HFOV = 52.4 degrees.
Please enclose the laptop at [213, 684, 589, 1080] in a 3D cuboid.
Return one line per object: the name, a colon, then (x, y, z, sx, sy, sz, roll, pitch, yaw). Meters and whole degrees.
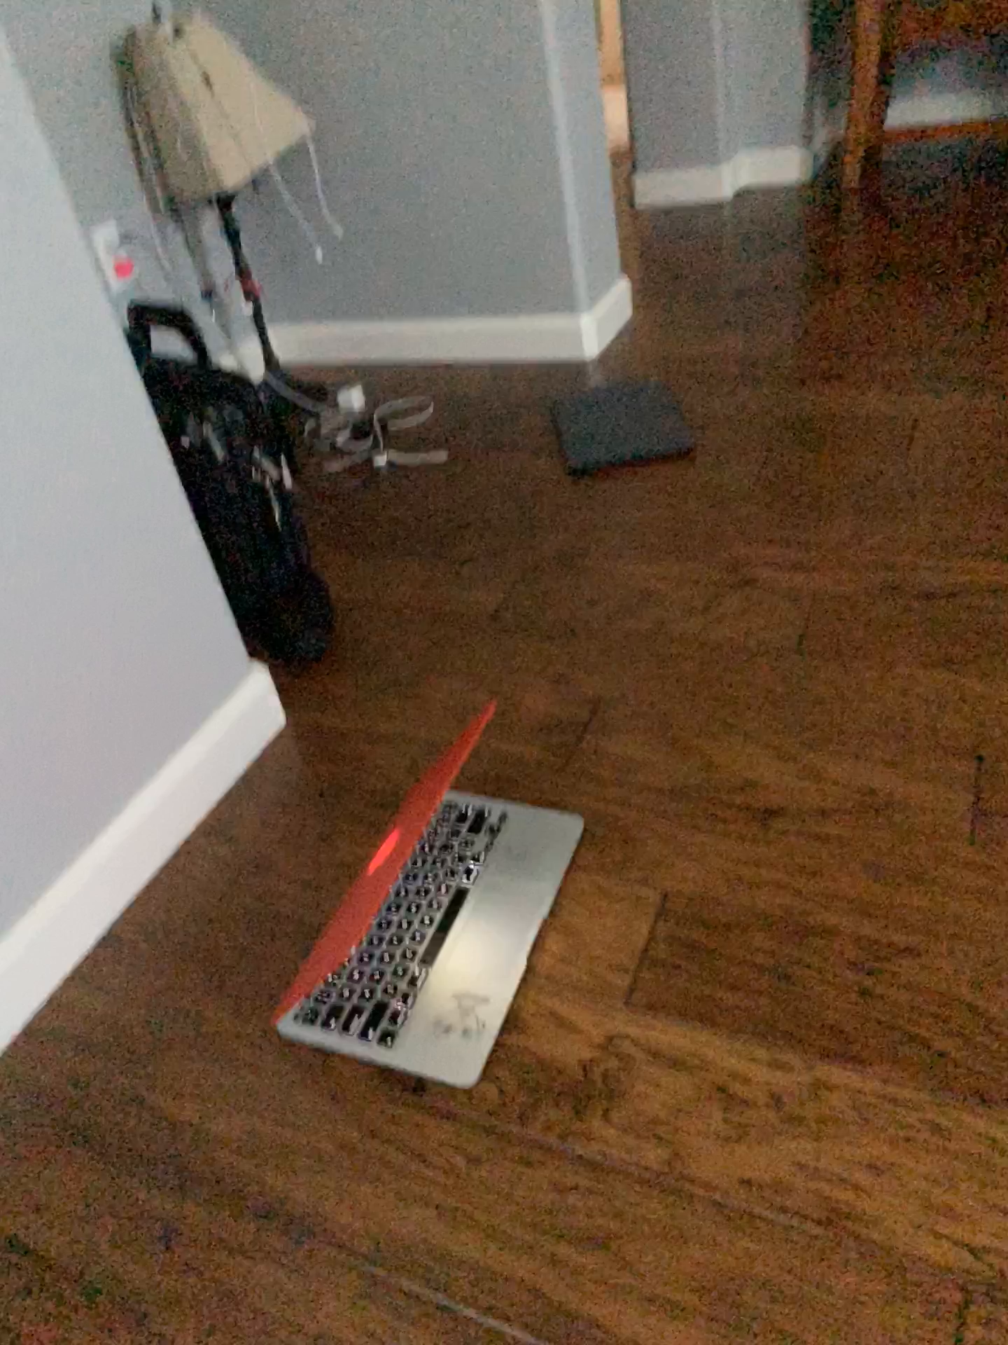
laptop: (-0.070, 0.165, 0.909, 0.198, 0.139, 0.303, 5, 37, 21)
